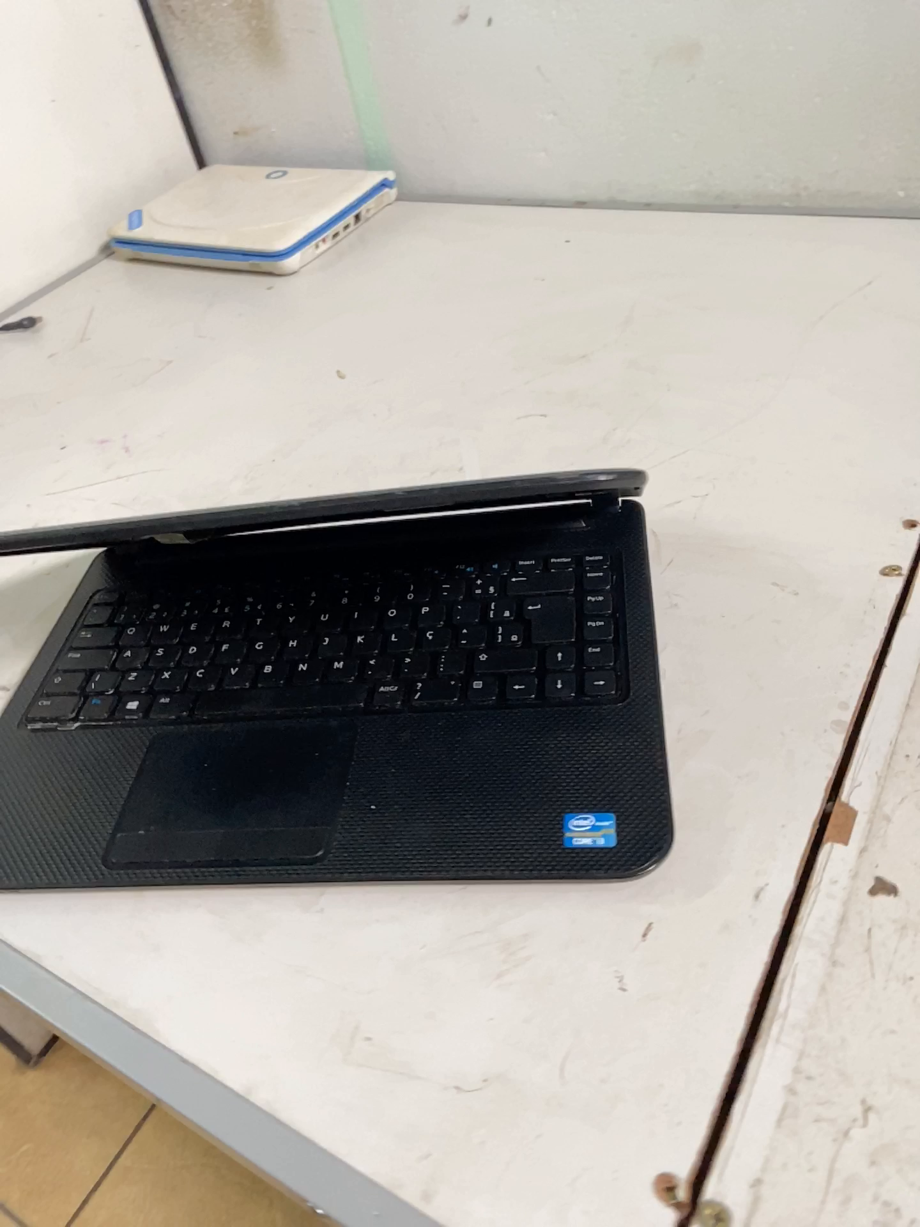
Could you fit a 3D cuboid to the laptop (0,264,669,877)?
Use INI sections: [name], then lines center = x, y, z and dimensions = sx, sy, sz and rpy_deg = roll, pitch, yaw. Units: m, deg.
[laptop]
center = -0.082, -0.022, 0.436
dimensions = 0.330, 0.141, 0.231
rpy_deg = -4, 43, 11
